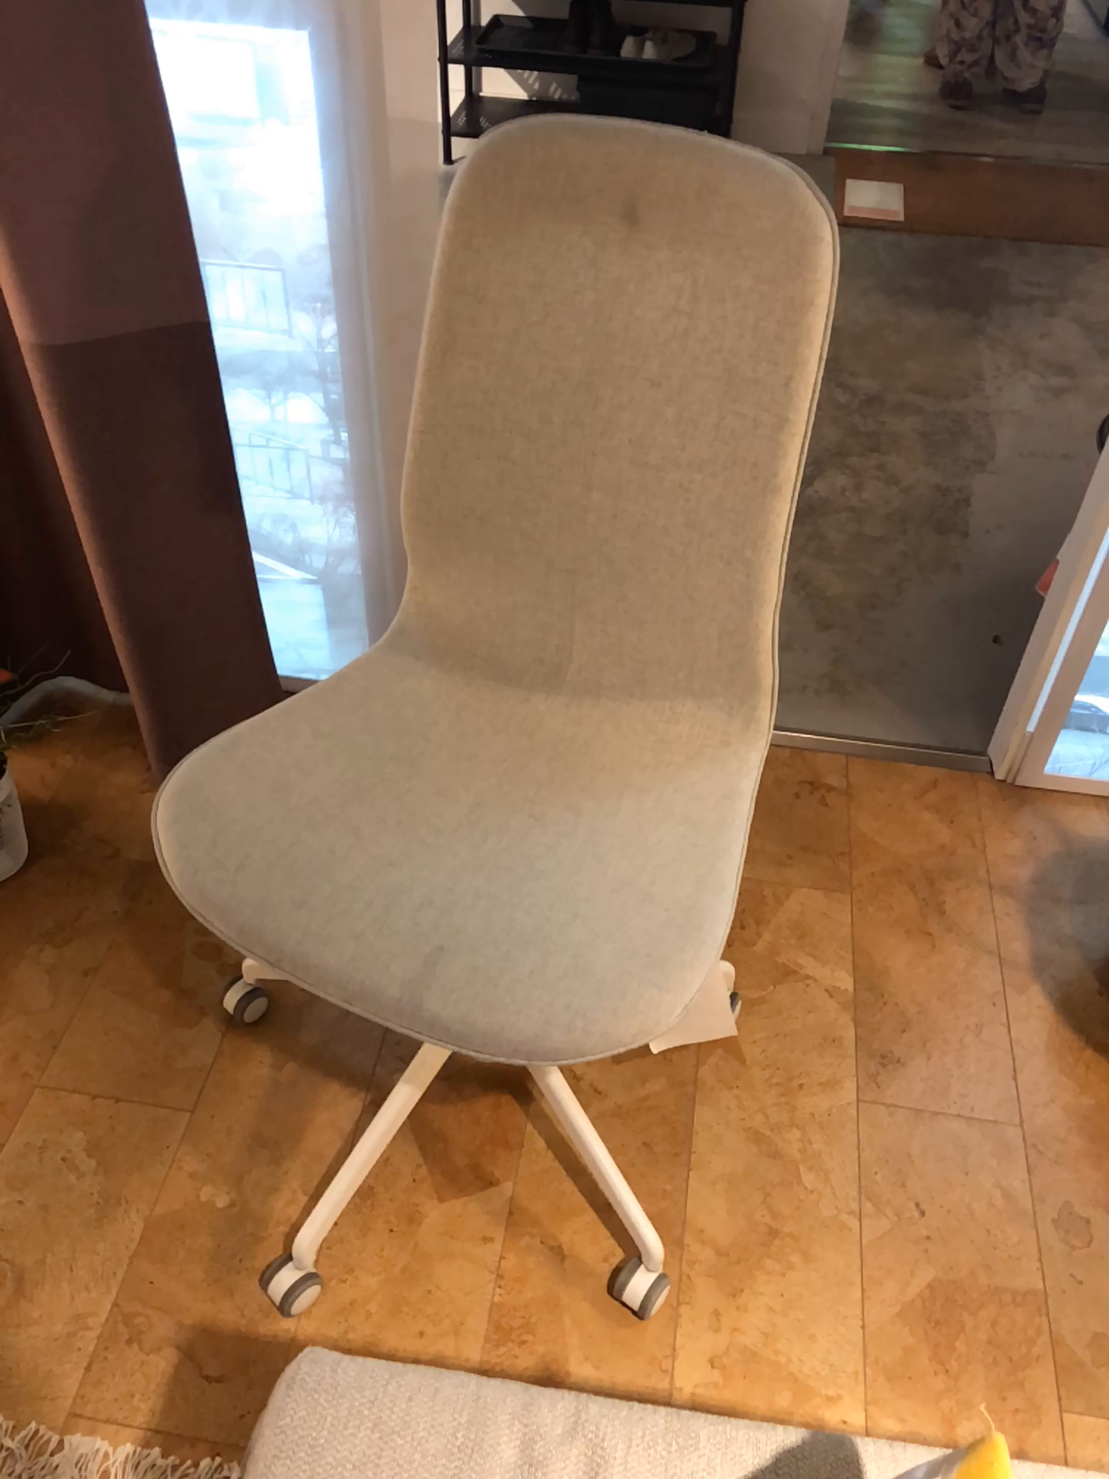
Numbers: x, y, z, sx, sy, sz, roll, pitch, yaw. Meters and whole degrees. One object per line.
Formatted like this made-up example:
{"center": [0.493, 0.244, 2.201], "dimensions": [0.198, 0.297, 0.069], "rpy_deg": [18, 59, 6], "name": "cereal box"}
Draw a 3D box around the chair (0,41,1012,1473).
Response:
{"center": [-0.096, 0.019, 1.104], "dimensions": [0.670, 0.936, 0.692], "rpy_deg": [16, 45, 14], "name": "chair"}
